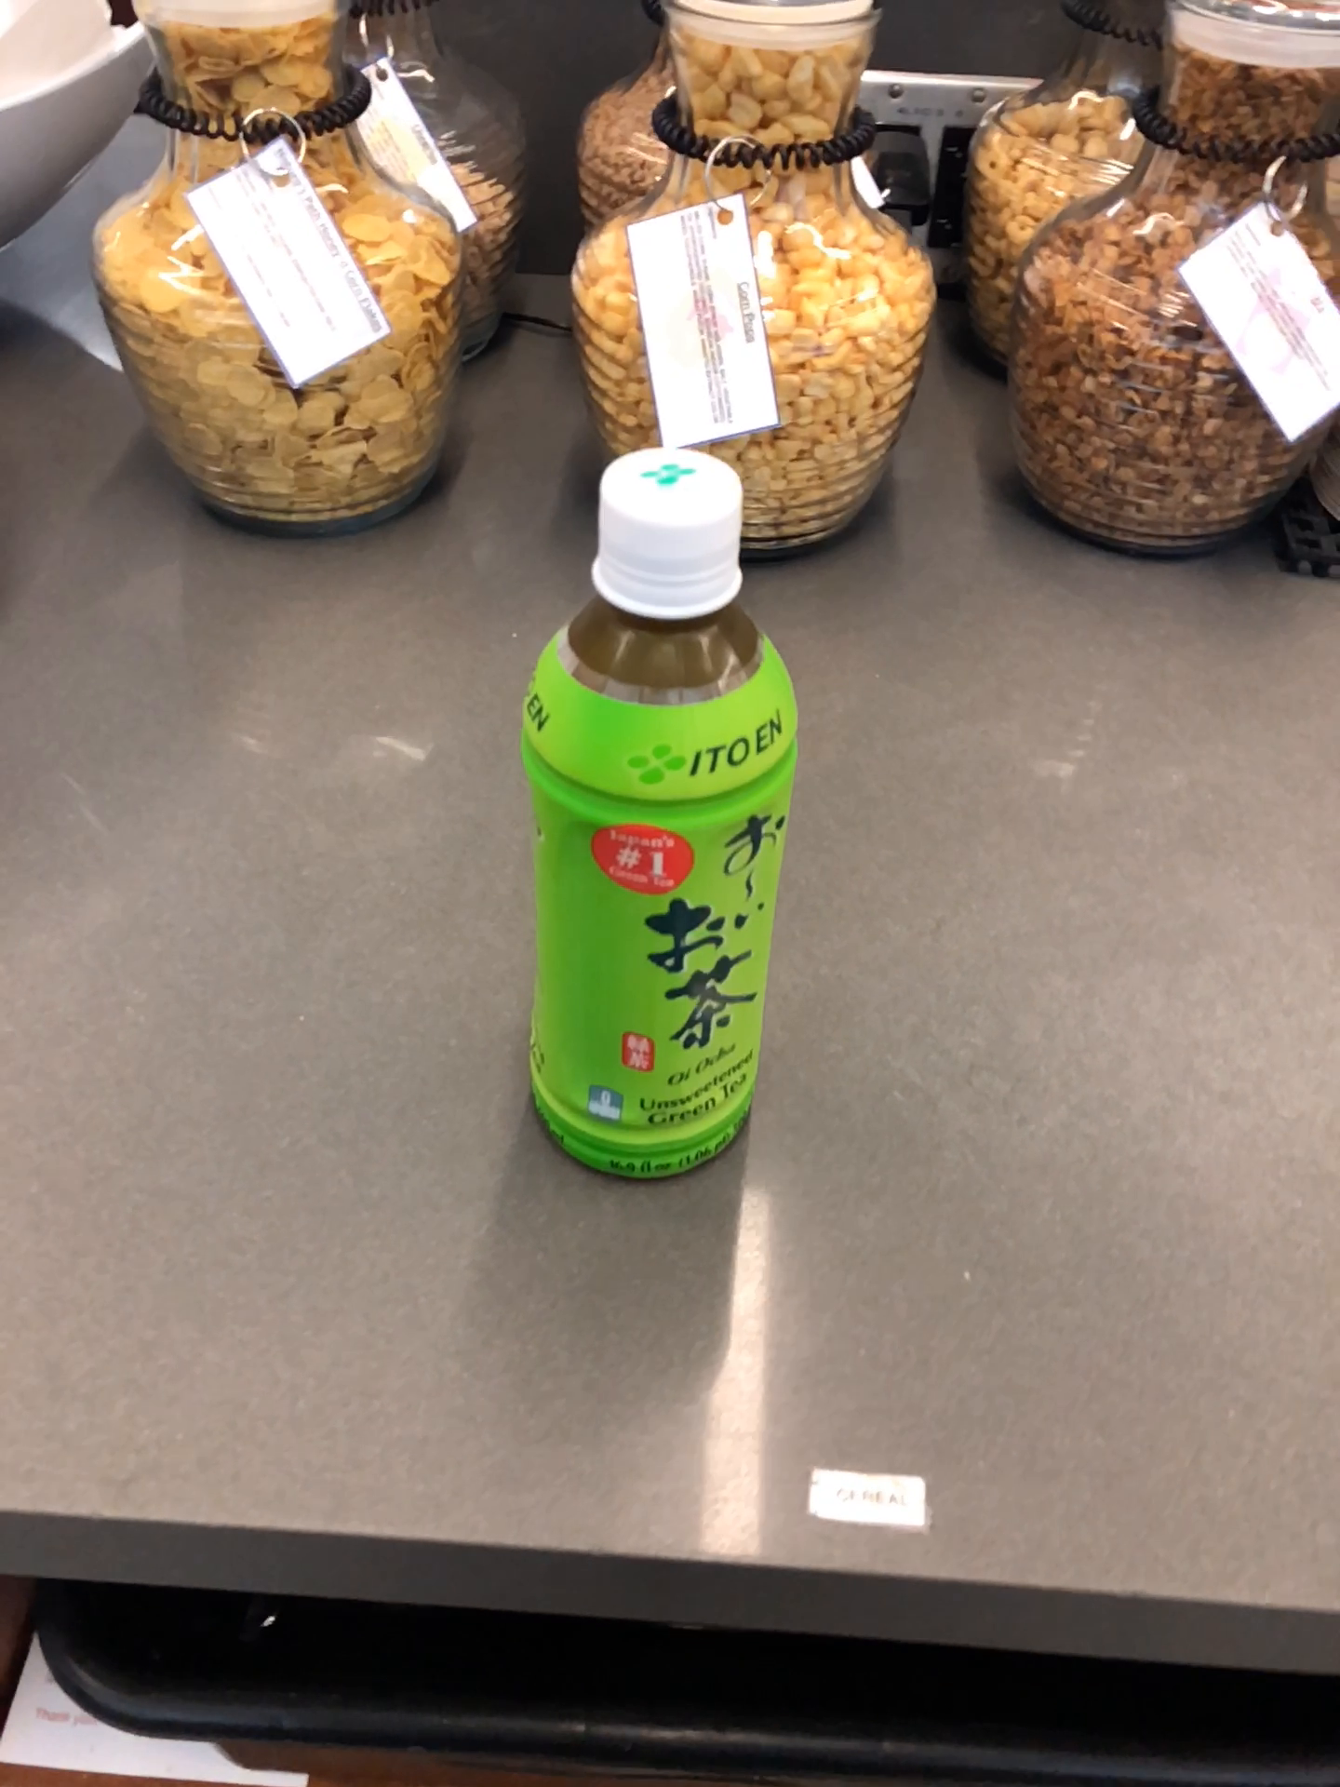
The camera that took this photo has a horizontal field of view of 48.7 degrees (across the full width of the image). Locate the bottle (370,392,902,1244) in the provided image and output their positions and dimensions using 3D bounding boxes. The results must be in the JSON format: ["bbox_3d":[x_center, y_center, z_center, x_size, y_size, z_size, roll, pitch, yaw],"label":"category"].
[{"bbox_3d":[-0.009,-0.012,0.378,0.080,0.189,0.080,1,44,-1],"label":"bottle"}]
